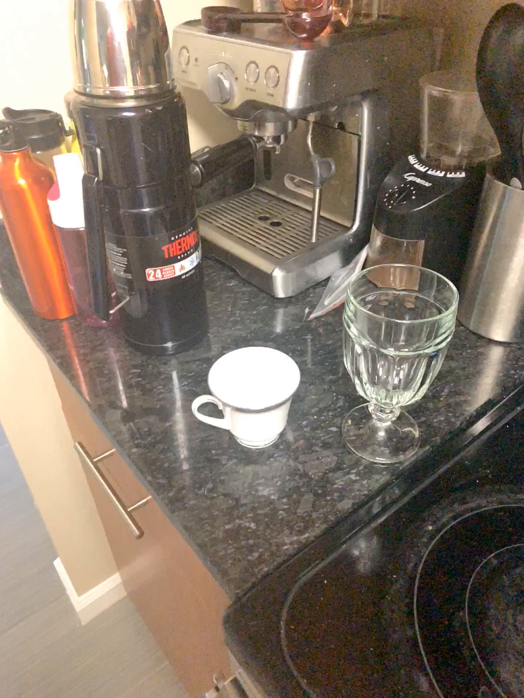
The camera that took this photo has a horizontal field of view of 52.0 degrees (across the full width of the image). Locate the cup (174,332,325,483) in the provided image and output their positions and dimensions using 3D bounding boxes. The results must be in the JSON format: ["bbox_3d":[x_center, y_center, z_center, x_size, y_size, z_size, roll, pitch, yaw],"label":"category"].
[{"bbox_3d":[-0.013,0.053,0.529,0.110,0.070,0.101,-1,38,1],"label":"cup"}]

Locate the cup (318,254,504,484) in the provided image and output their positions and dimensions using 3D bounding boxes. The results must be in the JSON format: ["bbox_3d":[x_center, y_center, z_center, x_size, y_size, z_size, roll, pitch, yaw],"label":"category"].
[{"bbox_3d":[0.131,0.019,0.514,0.110,0.169,0.101,-1,38,1],"label":"cup"}]
